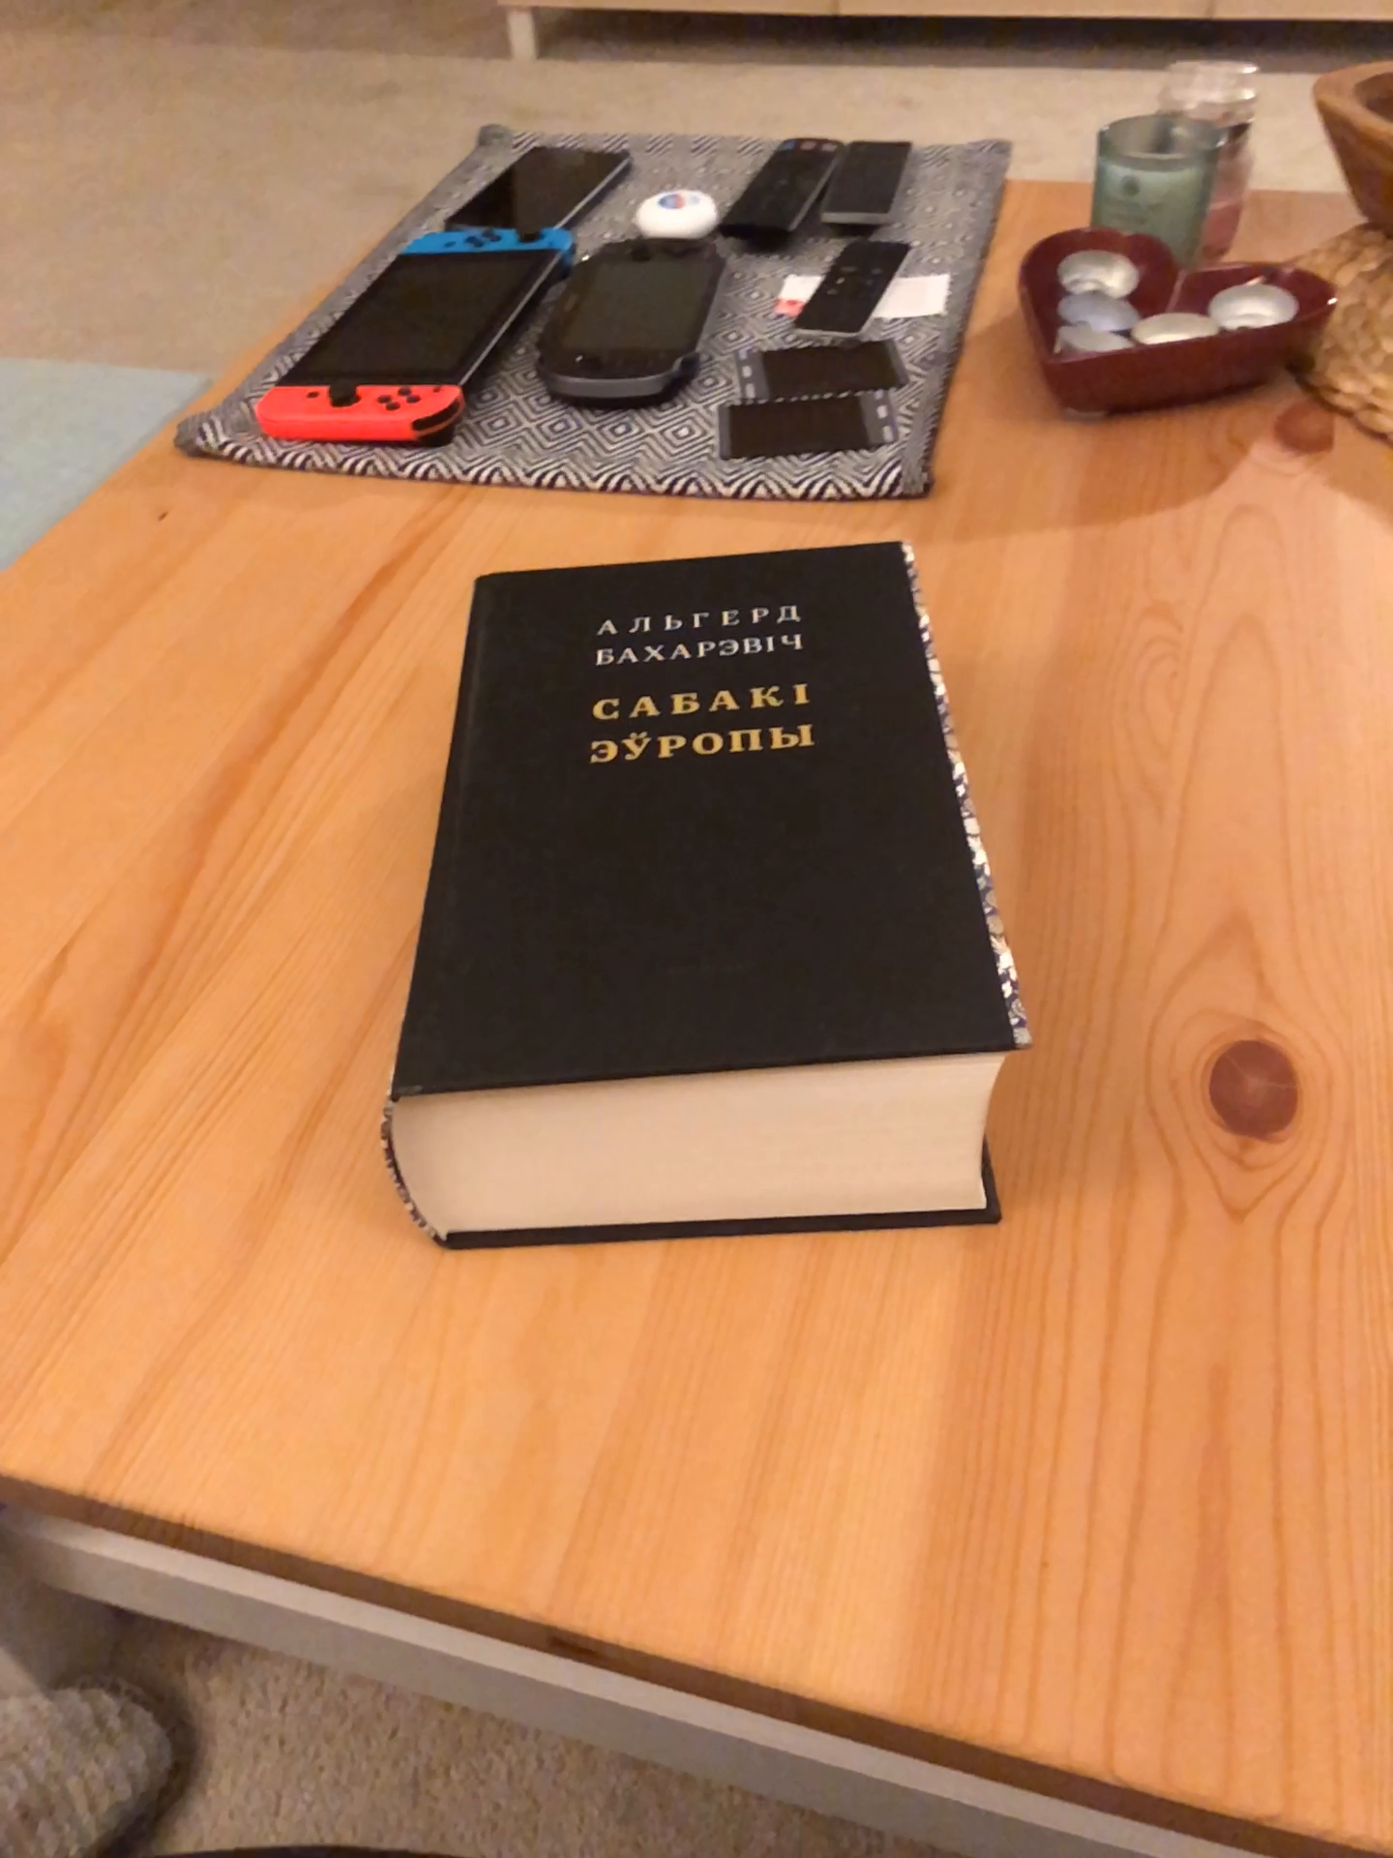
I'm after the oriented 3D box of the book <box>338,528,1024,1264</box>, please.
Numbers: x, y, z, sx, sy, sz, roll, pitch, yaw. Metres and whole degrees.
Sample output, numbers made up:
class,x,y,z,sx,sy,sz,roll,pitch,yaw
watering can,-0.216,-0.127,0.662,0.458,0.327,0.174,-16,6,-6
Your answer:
class,x,y,z,sx,sy,sz,roll,pitch,yaw
book,-0.005,-0.023,0.452,0.157,0.061,0.230,-5,45,3
